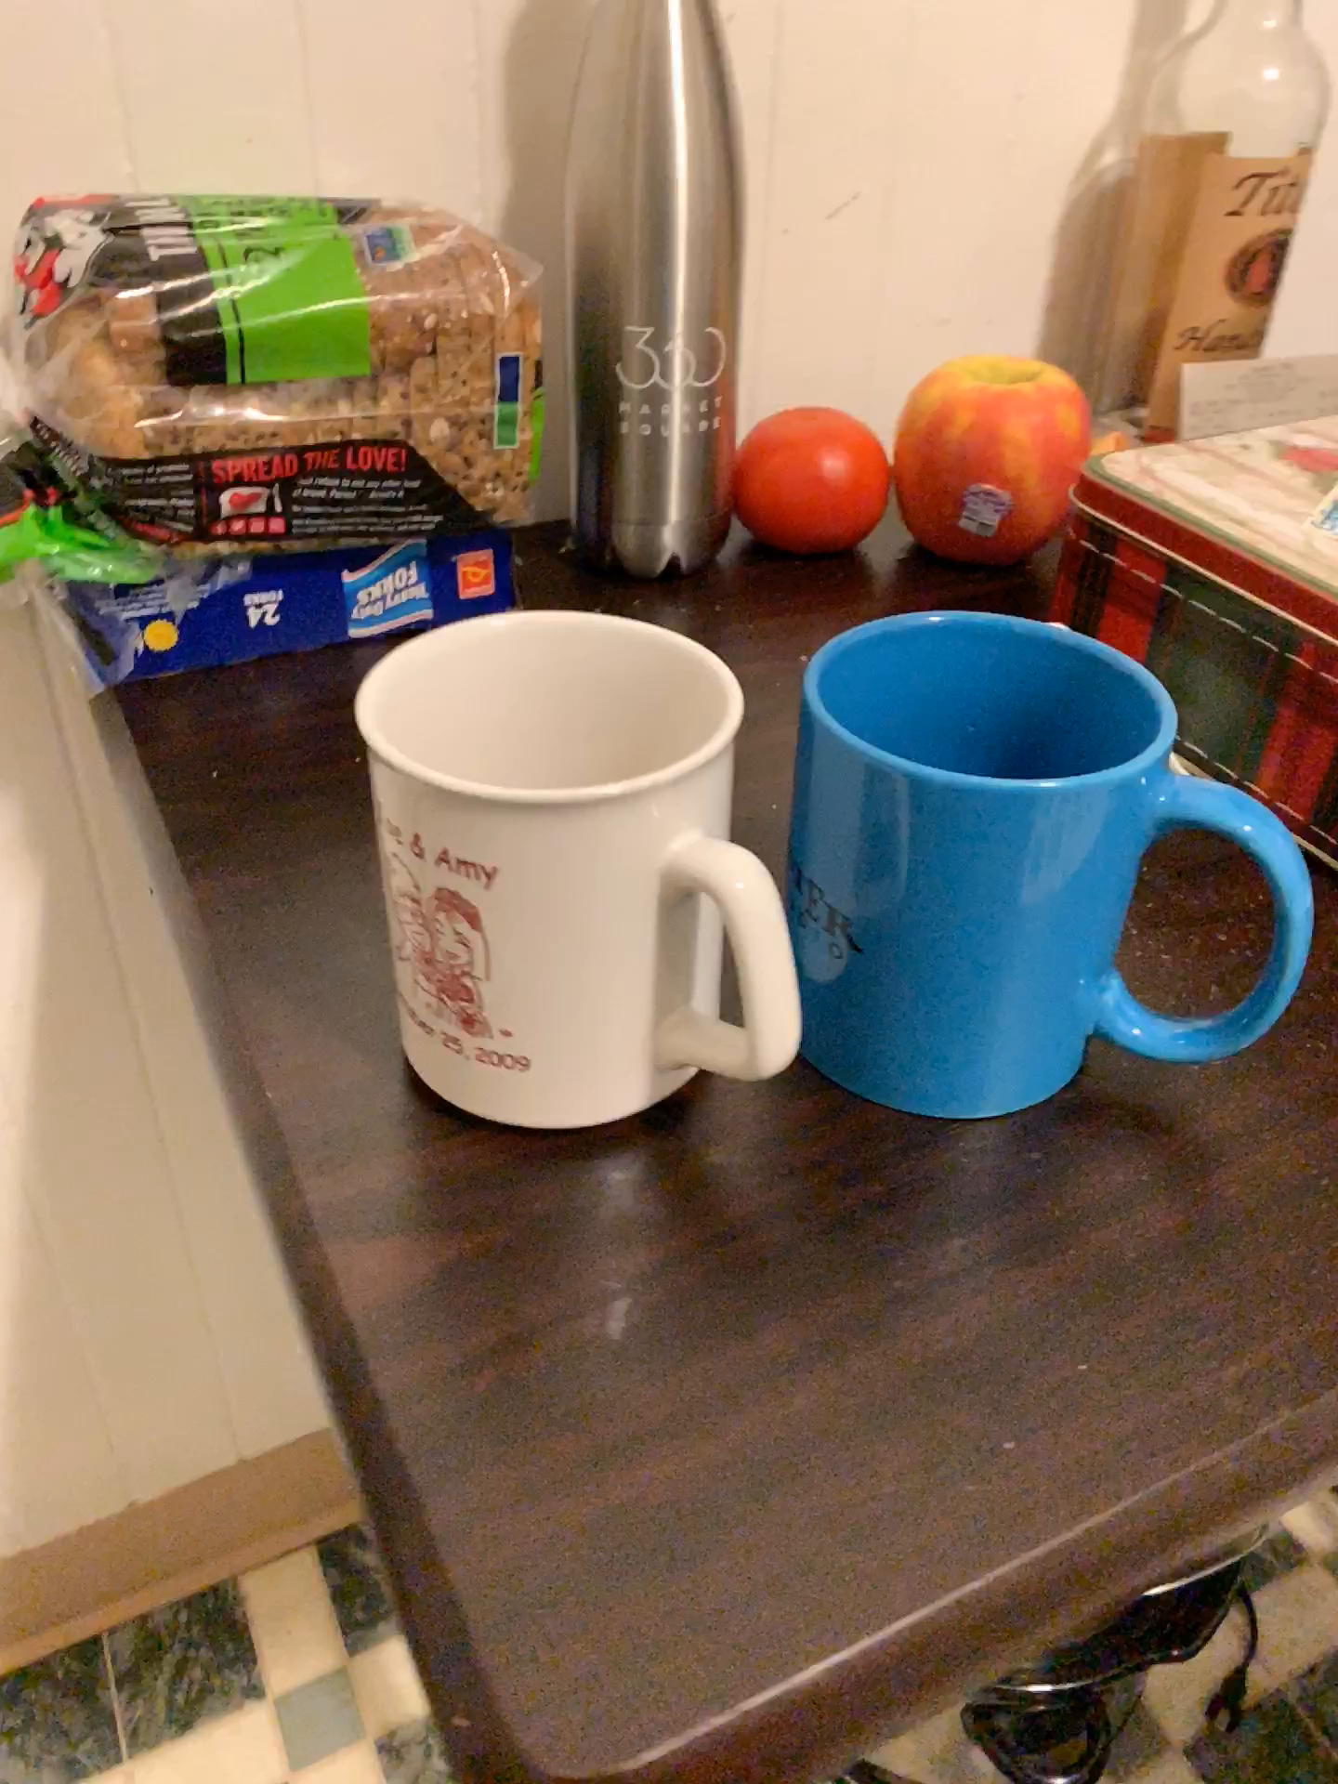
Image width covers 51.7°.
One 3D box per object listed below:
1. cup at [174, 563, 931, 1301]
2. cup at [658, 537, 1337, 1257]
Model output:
[{"bbox_3d":[-0.025,0.001,0.318,0.130,0.099,0.090,22,40,25],"label":"cup"},{"bbox_3d":[0.082,-0.007,0.327,0.140,0.099,0.090,20,40,23],"label":"cup"}]
